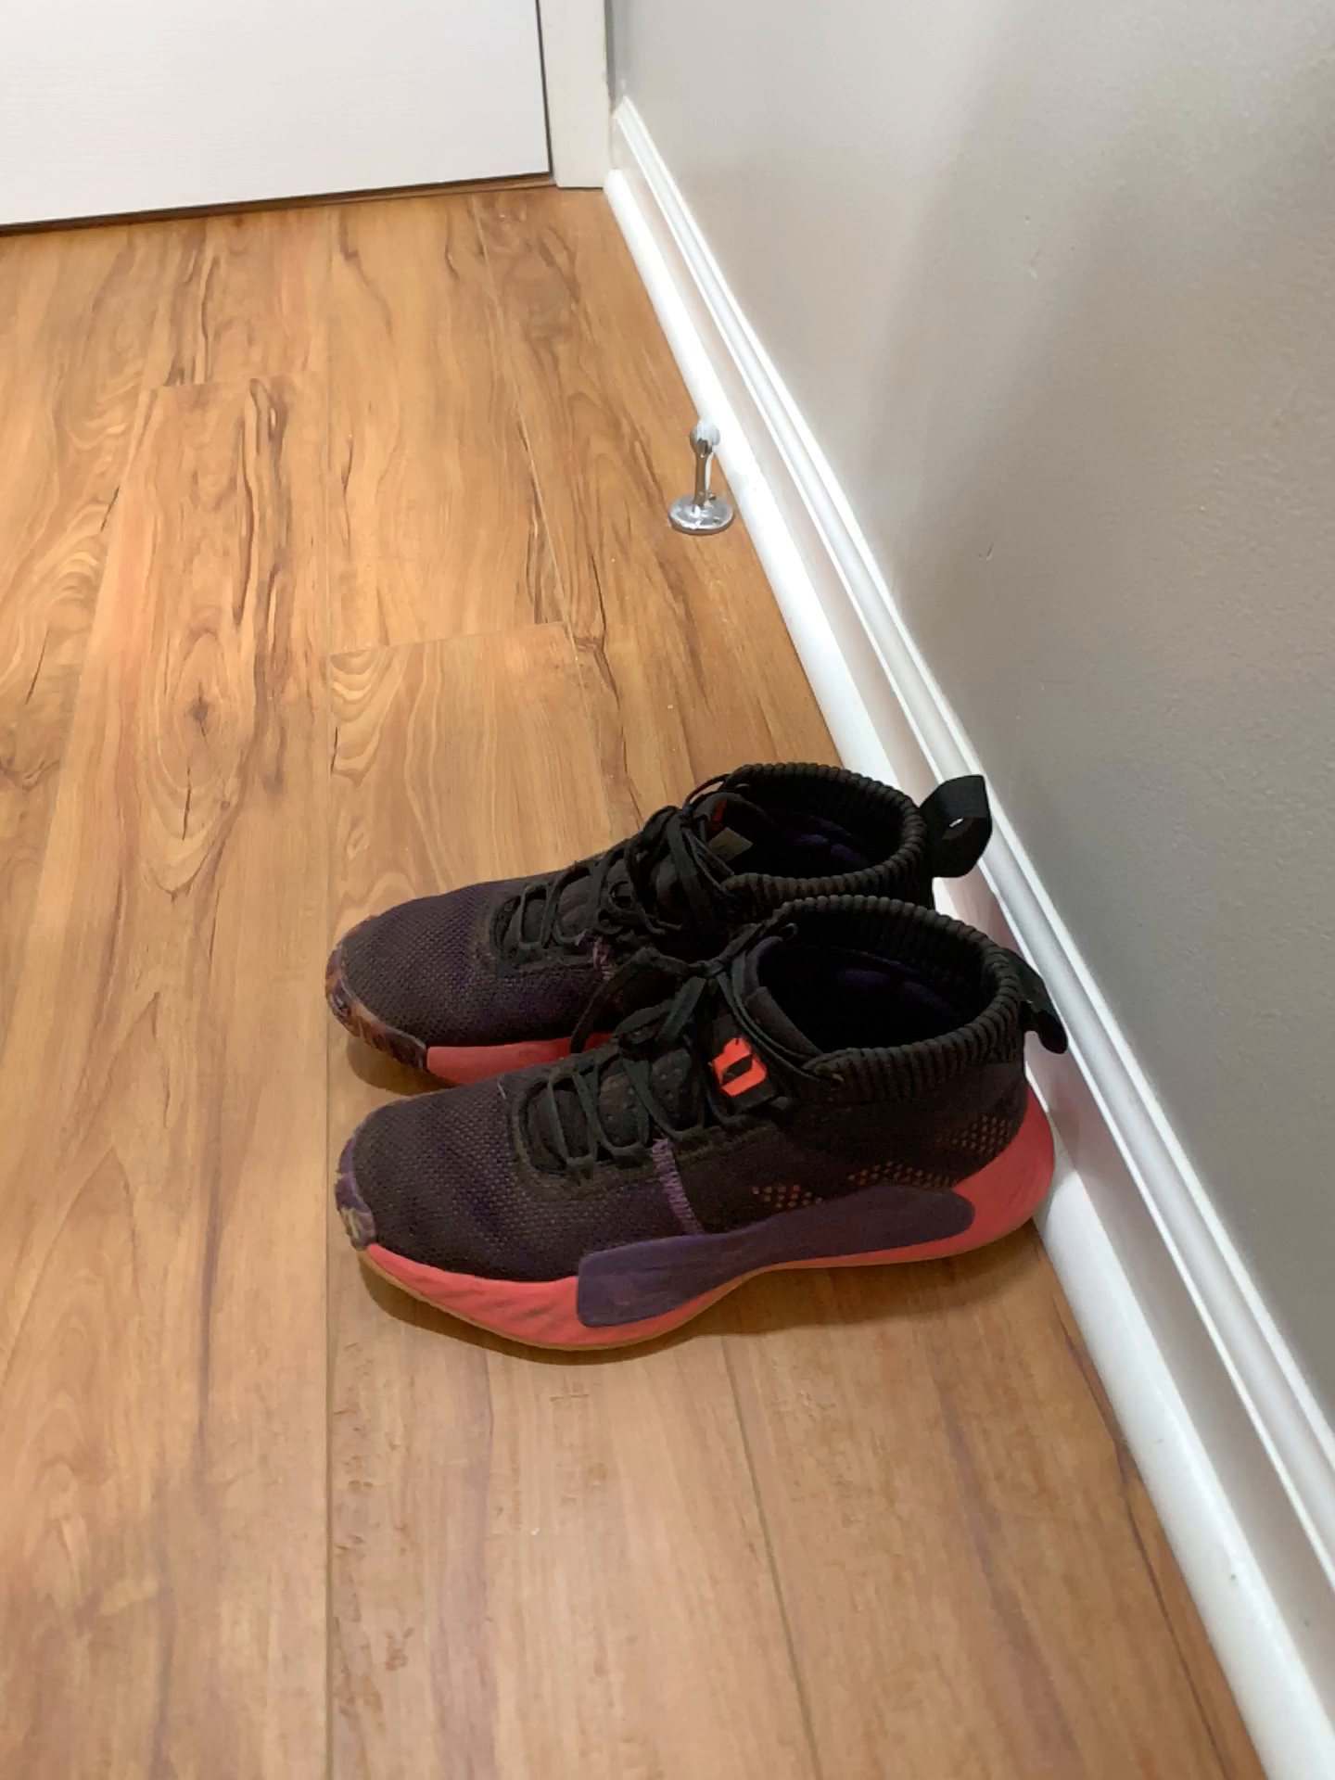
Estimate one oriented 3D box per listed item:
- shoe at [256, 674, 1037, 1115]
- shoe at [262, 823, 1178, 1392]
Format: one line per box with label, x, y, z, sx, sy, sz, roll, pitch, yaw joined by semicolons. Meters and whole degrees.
shoe;-0.008;0.002;0.586;0.285;0.131;0.120;-2;45;0
shoe;0.014;0.079;0.508;0.285;0.131;0.120;-7;45;-5
